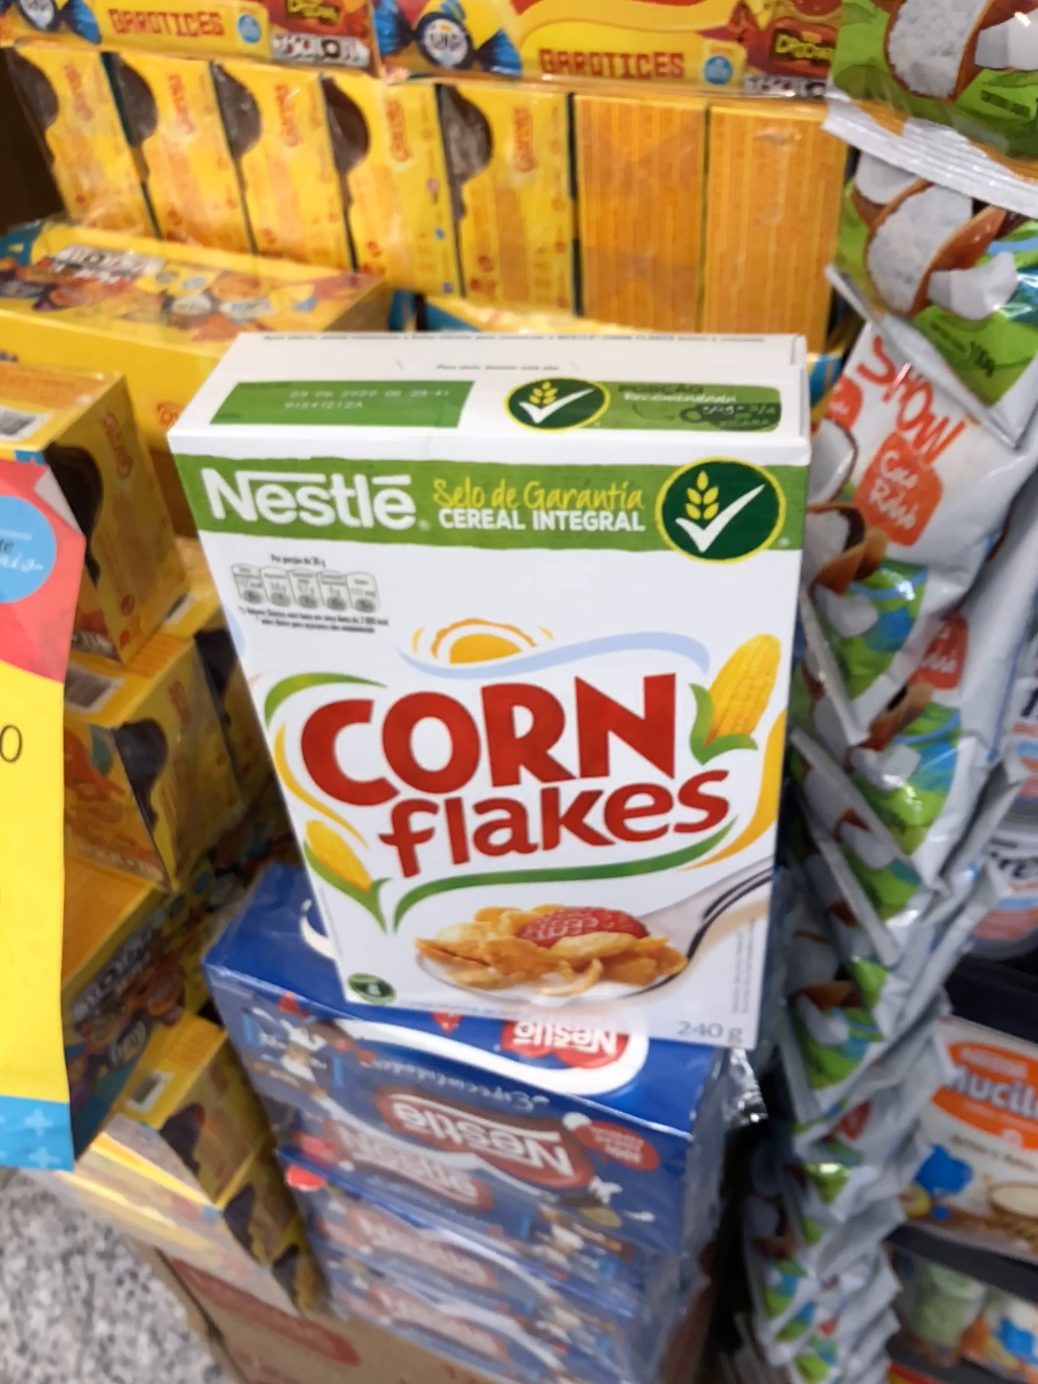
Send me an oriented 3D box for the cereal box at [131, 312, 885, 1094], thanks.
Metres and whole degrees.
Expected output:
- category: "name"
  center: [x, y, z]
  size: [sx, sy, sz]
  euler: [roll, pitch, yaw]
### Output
- category: "cereal box"
  center: [0.005, 0.018, 0.359]
  size: [0.170, 0.248, 0.060]
  euler: [5, 42, 11]
